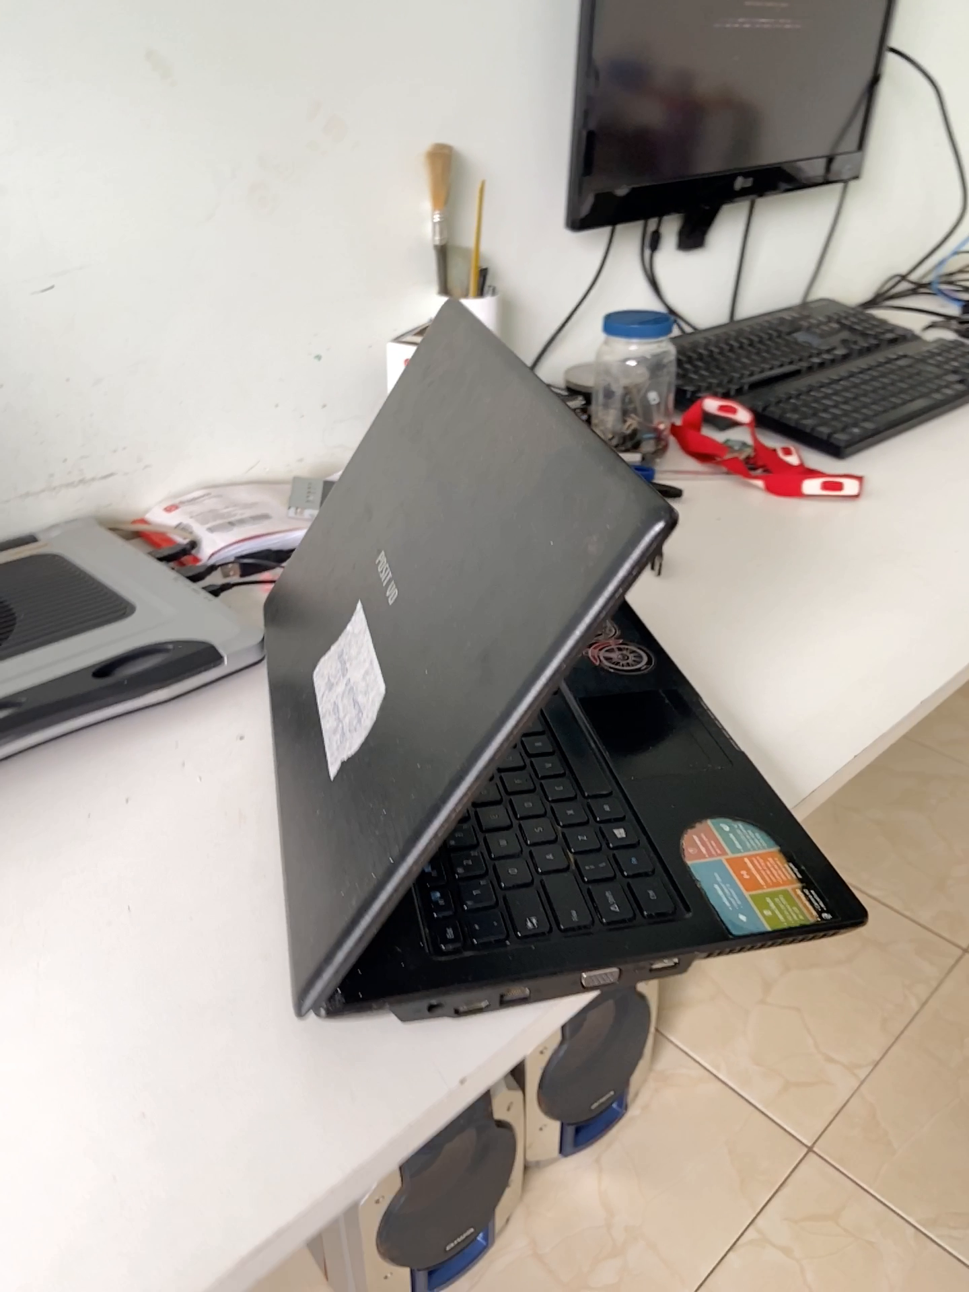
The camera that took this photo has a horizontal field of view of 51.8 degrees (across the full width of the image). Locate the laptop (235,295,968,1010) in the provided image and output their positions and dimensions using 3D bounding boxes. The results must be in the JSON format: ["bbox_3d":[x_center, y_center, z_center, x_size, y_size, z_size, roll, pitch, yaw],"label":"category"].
[{"bbox_3d":[0.011,-0.039,0.493,0.233,0.189,0.331,-6,31,-12],"label":"laptop"}]
